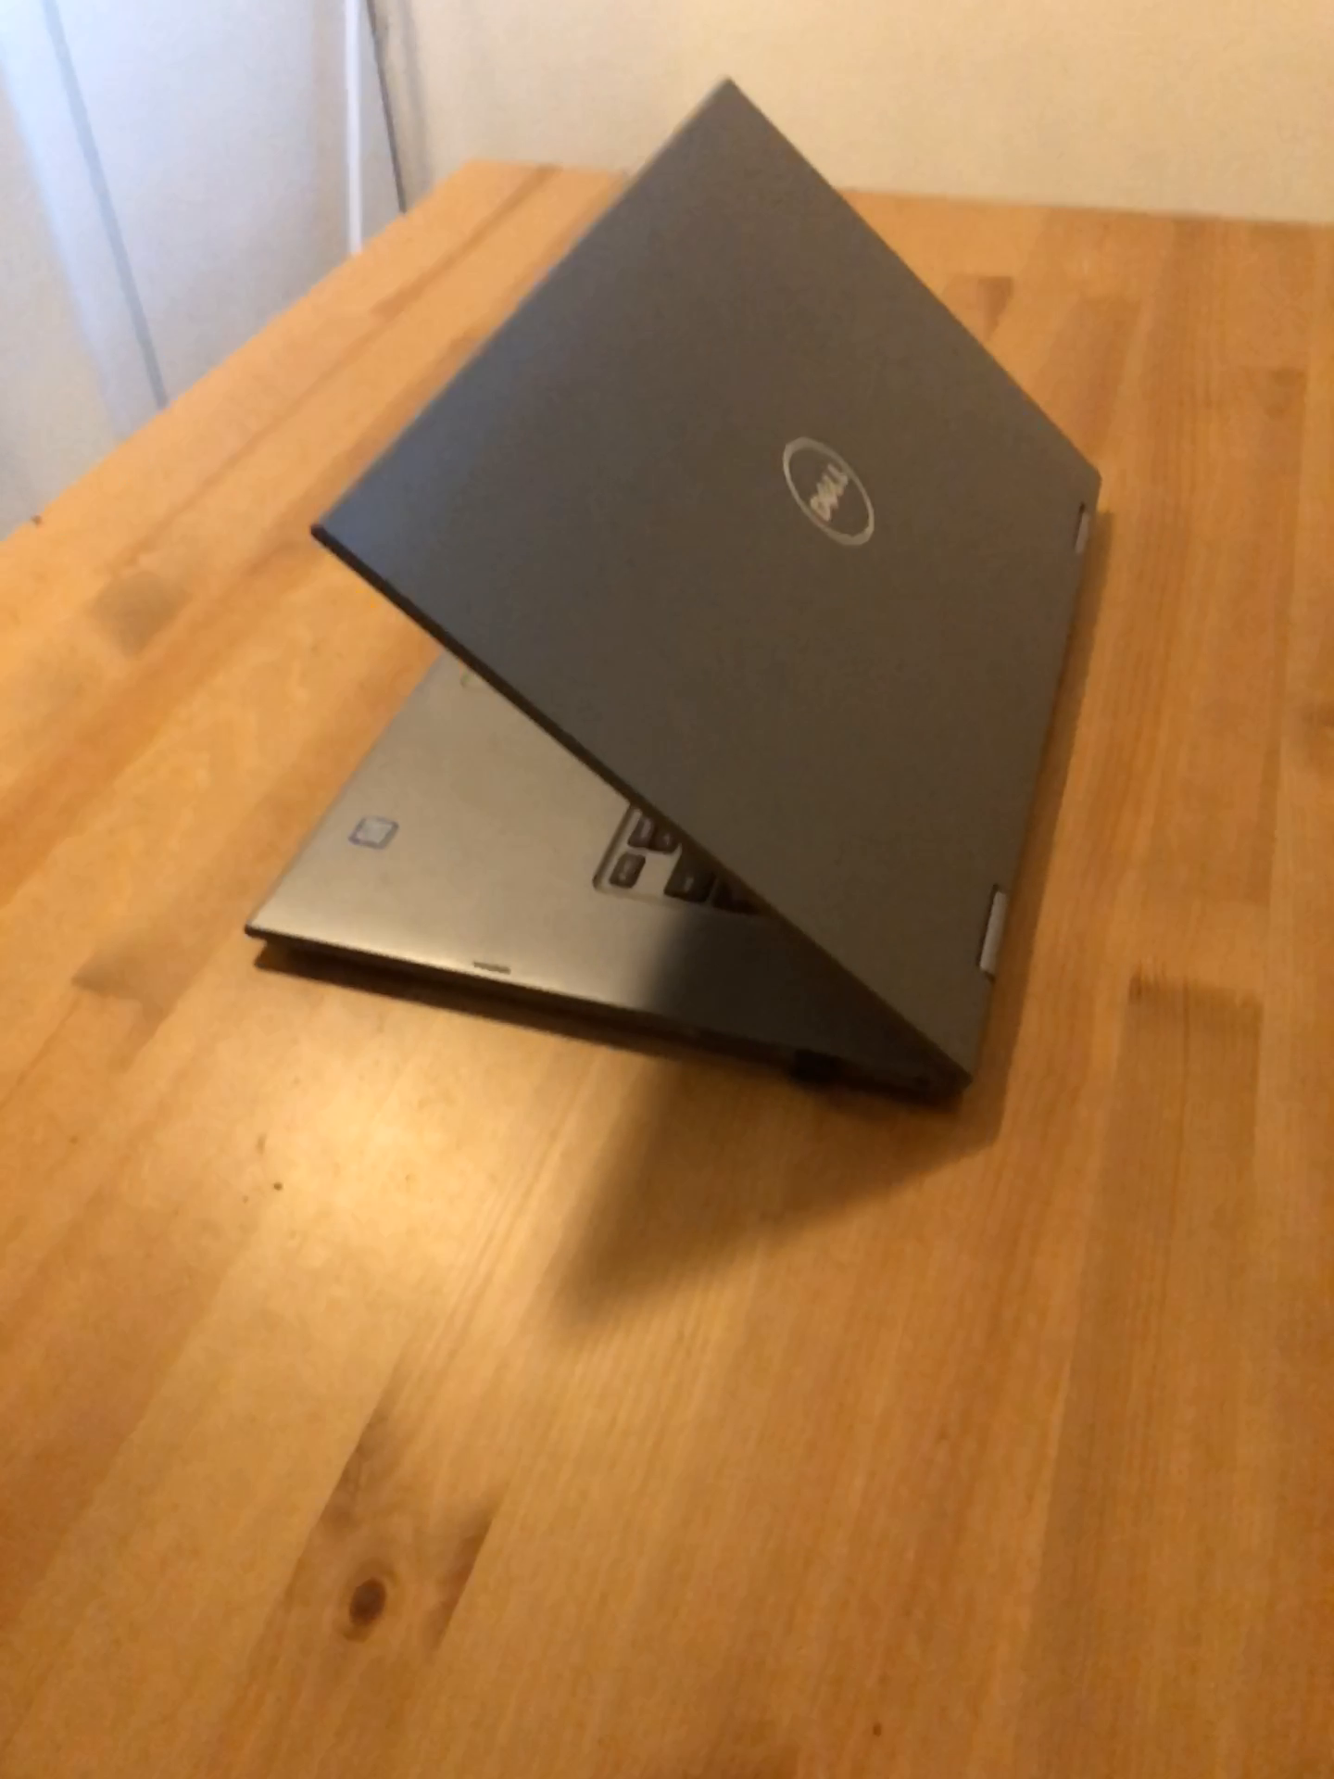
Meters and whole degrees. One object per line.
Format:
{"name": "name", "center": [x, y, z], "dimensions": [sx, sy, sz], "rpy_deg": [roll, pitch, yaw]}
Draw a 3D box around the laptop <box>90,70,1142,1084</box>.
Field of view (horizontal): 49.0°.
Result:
{"name": "laptop", "center": [0.022, -0.151, 0.545], "dimensions": [0.246, 0.165, 0.377], "rpy_deg": [11, 46, 14]}
